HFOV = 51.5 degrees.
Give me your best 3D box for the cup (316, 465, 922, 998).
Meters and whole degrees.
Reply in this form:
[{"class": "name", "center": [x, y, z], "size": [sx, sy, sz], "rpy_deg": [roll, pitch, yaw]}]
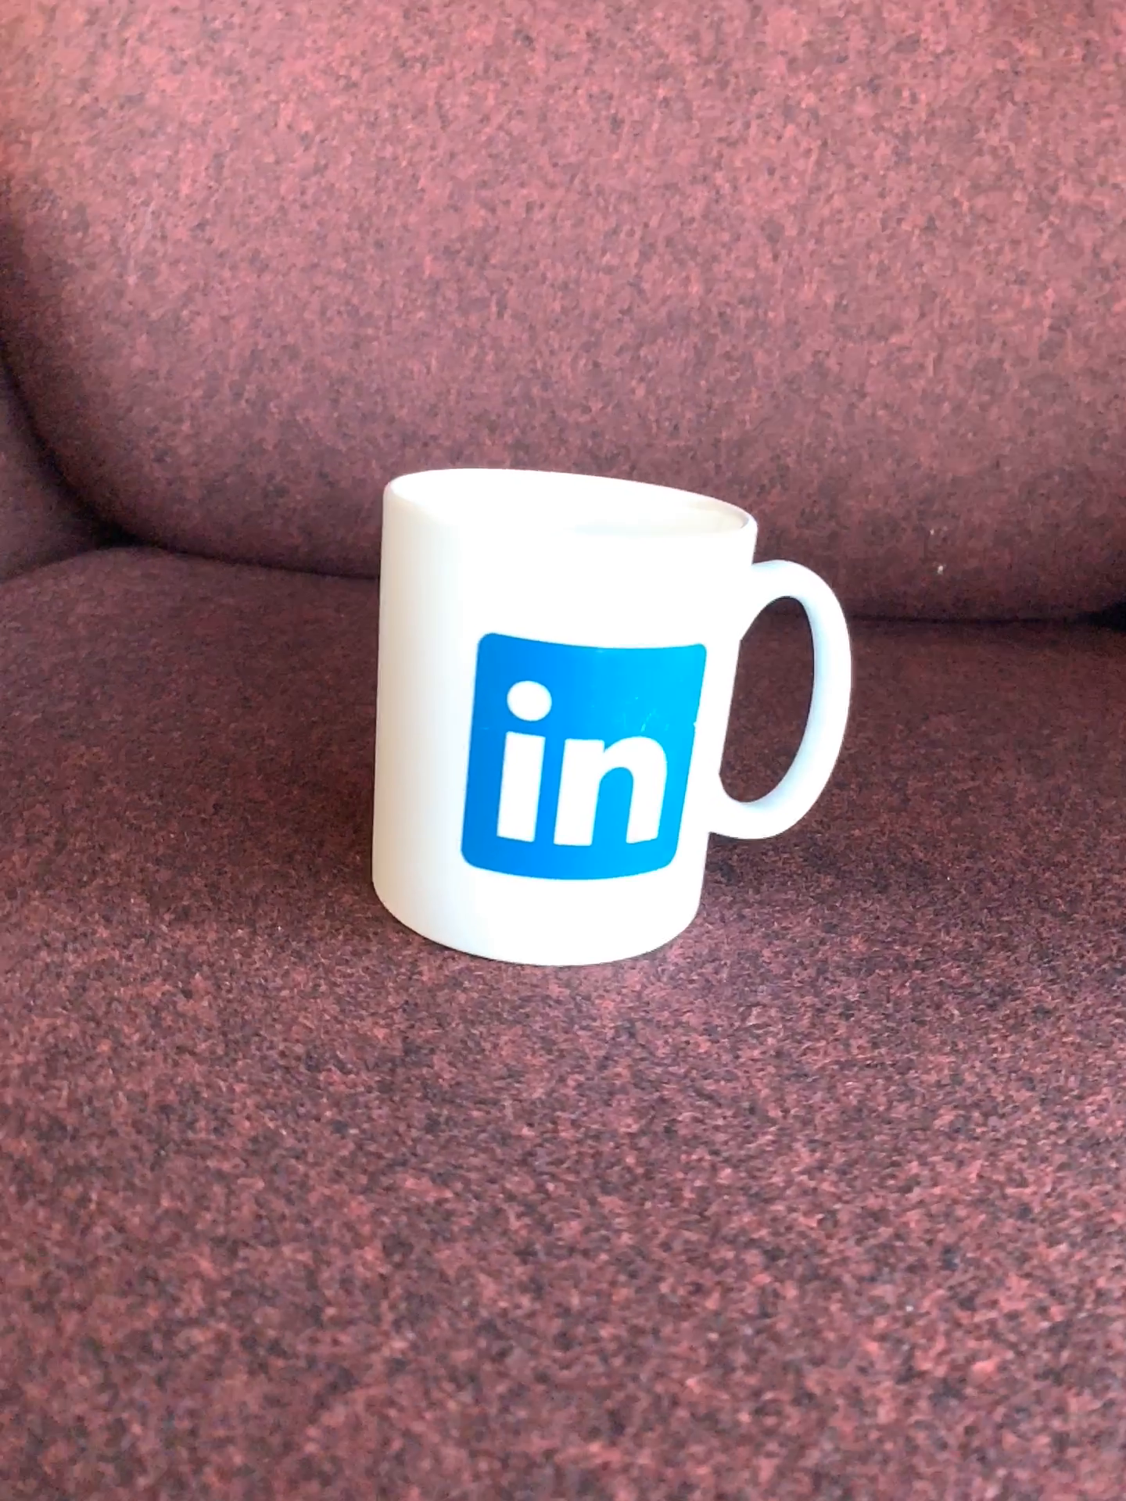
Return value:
[{"class": "cup", "center": [0.005, -0.009, 0.248], "size": [0.104, 0.089, 0.075], "rpy_deg": [-1, 21, -7]}]
